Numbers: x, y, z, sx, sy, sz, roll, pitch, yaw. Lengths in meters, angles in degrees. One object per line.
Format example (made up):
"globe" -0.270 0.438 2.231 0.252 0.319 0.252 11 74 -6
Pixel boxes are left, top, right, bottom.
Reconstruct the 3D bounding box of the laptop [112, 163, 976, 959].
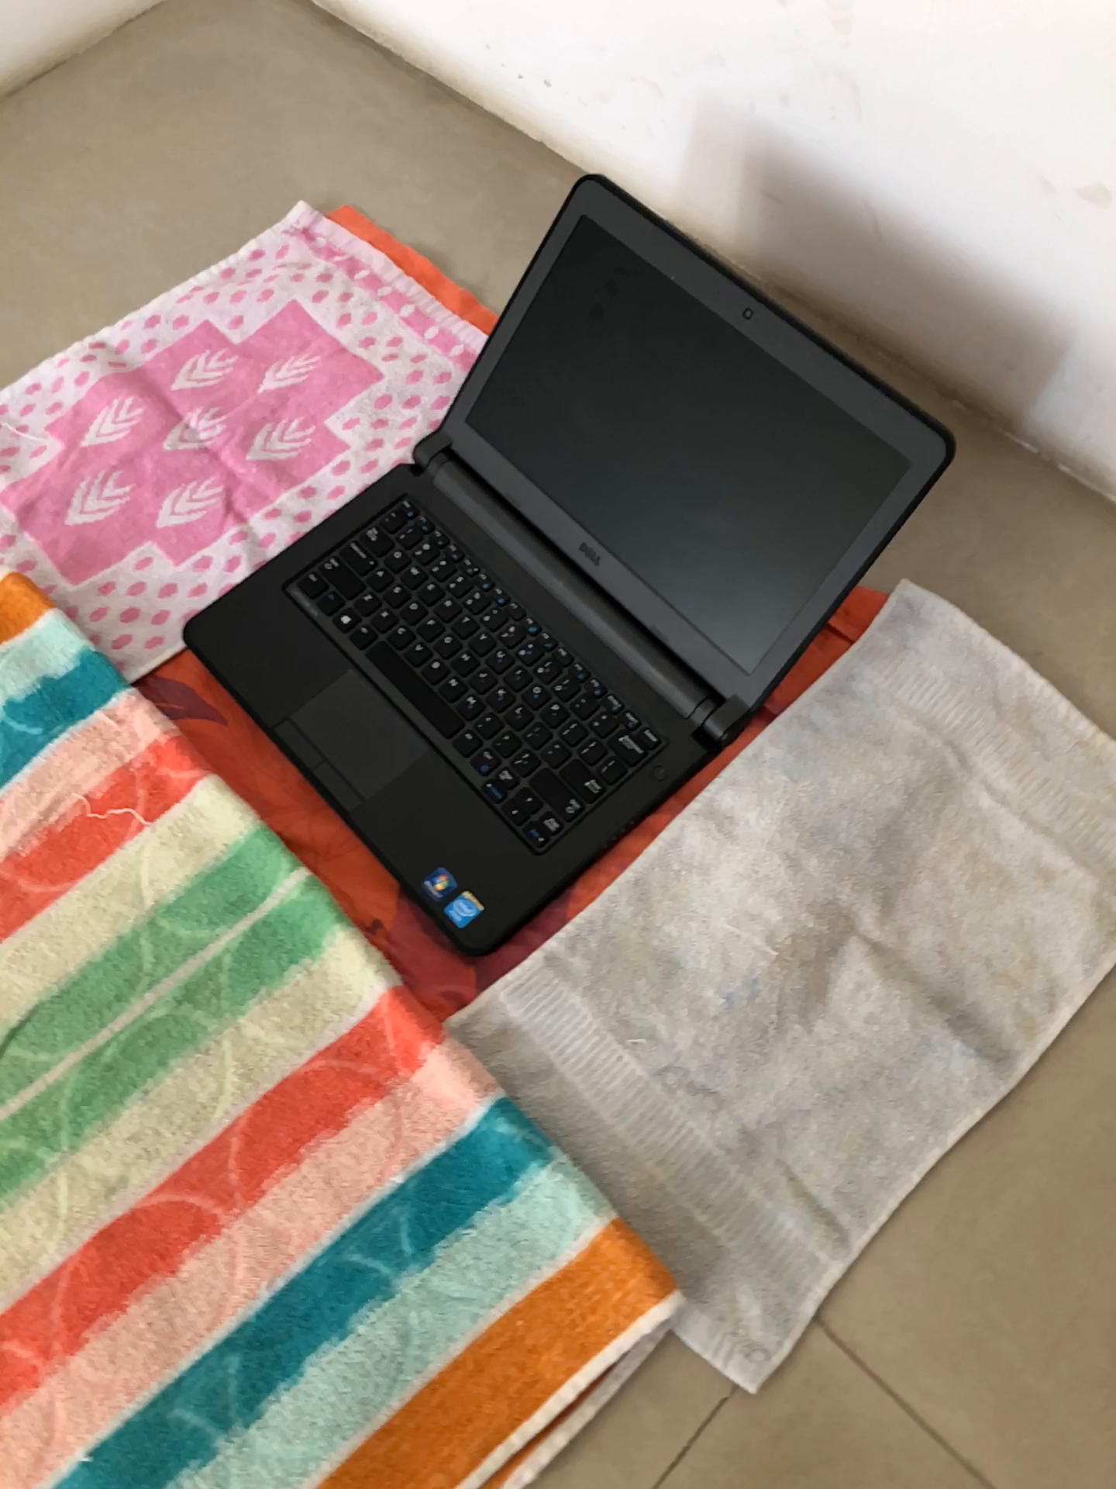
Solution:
"laptop" -0.010 -0.127 0.779 0.392 0.143 0.314 -39 69 -13
